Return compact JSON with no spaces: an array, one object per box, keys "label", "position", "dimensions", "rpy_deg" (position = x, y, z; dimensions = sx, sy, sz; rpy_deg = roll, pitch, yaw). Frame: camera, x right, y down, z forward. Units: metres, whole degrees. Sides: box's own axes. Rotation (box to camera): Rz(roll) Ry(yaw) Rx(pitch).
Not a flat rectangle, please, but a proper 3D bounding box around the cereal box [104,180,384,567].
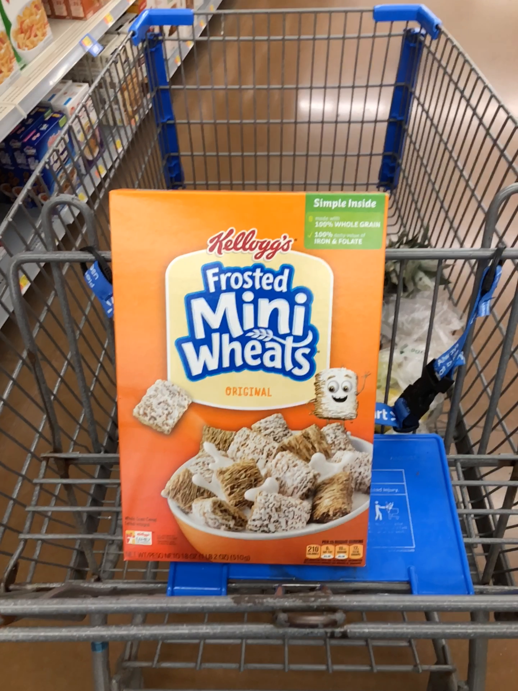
[{"label":"cereal box","position":[-0.011,0.023,0.451],"dimensions":[0.190,0.290,0.070],"rpy_deg":[0,11,0]}]
